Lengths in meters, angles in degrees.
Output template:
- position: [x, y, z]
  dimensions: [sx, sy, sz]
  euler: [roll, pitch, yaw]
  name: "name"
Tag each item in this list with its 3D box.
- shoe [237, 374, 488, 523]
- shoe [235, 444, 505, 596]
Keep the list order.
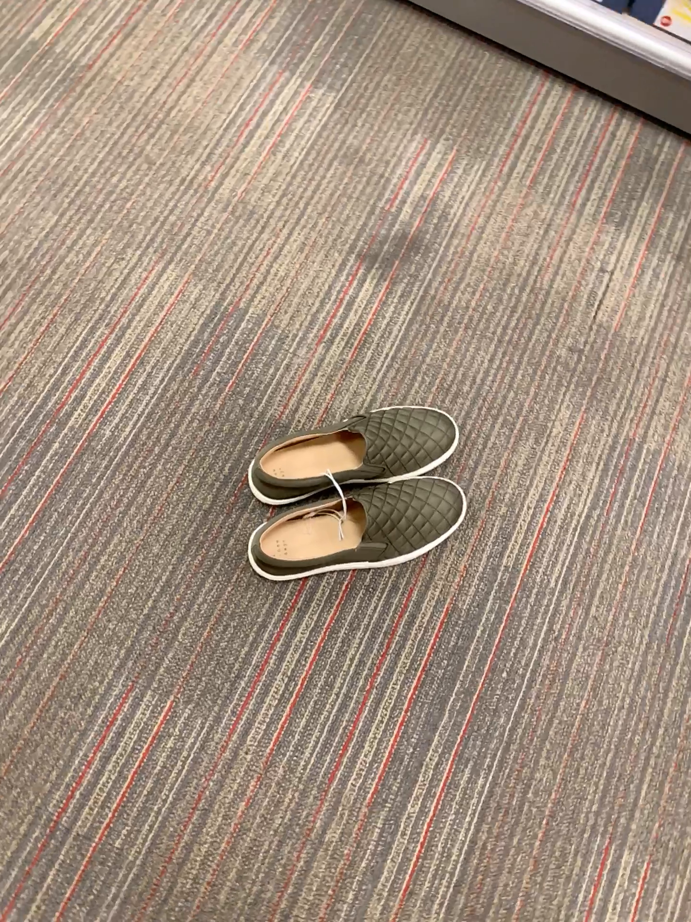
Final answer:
- position: [0.017, -0.015, 0.903]
  dimensions: [0.290, 0.110, 0.100]
  euler: [-13, 75, -11]
  name: "shoe"
- position: [0.022, 0.073, 0.848]
  dimensions: [0.290, 0.130, 0.100]
  euler: [-11, 74, -11]
  name: "shoe"
